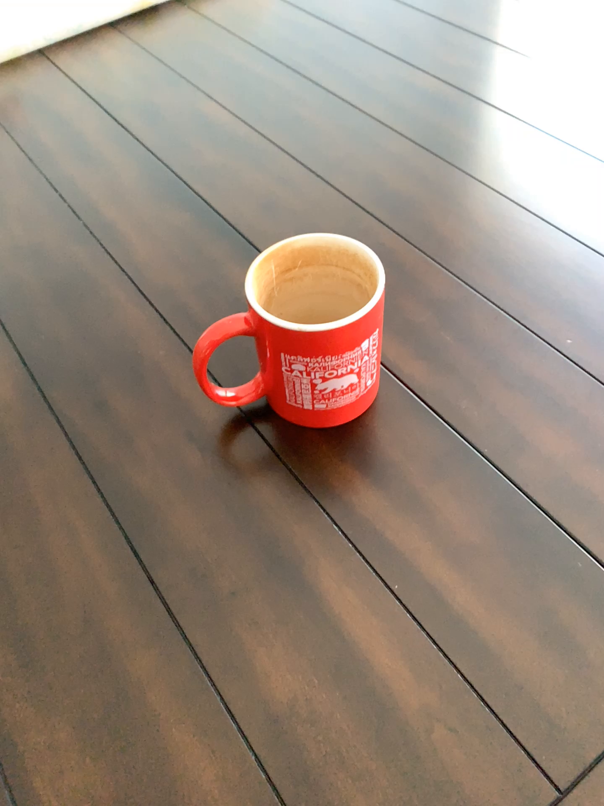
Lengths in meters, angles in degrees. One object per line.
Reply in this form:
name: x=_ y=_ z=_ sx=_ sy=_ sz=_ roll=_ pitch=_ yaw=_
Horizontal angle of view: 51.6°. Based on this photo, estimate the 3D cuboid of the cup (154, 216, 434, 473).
cup: x=-0.006 y=-0.040 z=0.406 sx=0.140 sy=0.080 sz=0.100 roll=-21 pitch=53 yaw=-12
